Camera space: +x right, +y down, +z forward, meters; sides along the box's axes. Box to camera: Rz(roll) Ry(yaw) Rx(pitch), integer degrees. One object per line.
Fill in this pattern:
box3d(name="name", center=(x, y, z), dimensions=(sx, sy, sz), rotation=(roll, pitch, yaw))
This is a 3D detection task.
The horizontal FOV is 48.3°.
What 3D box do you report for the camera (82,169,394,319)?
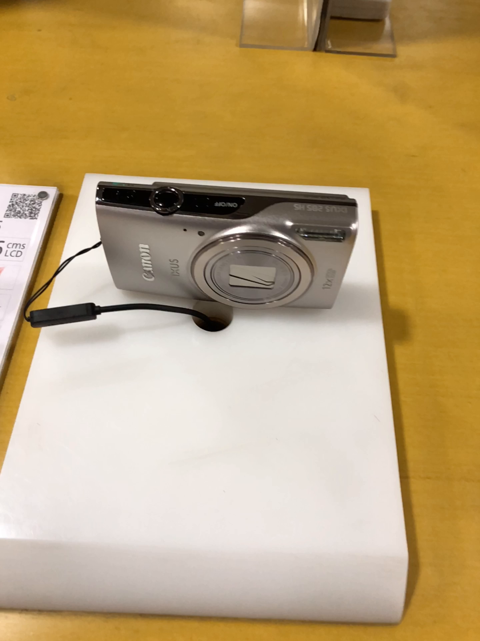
box3d(name="camera", center=(-0.001, -0.028, 0.219), dimensions=(0.110, 0.060, 0.020), rotation=(4, 58, 0))
